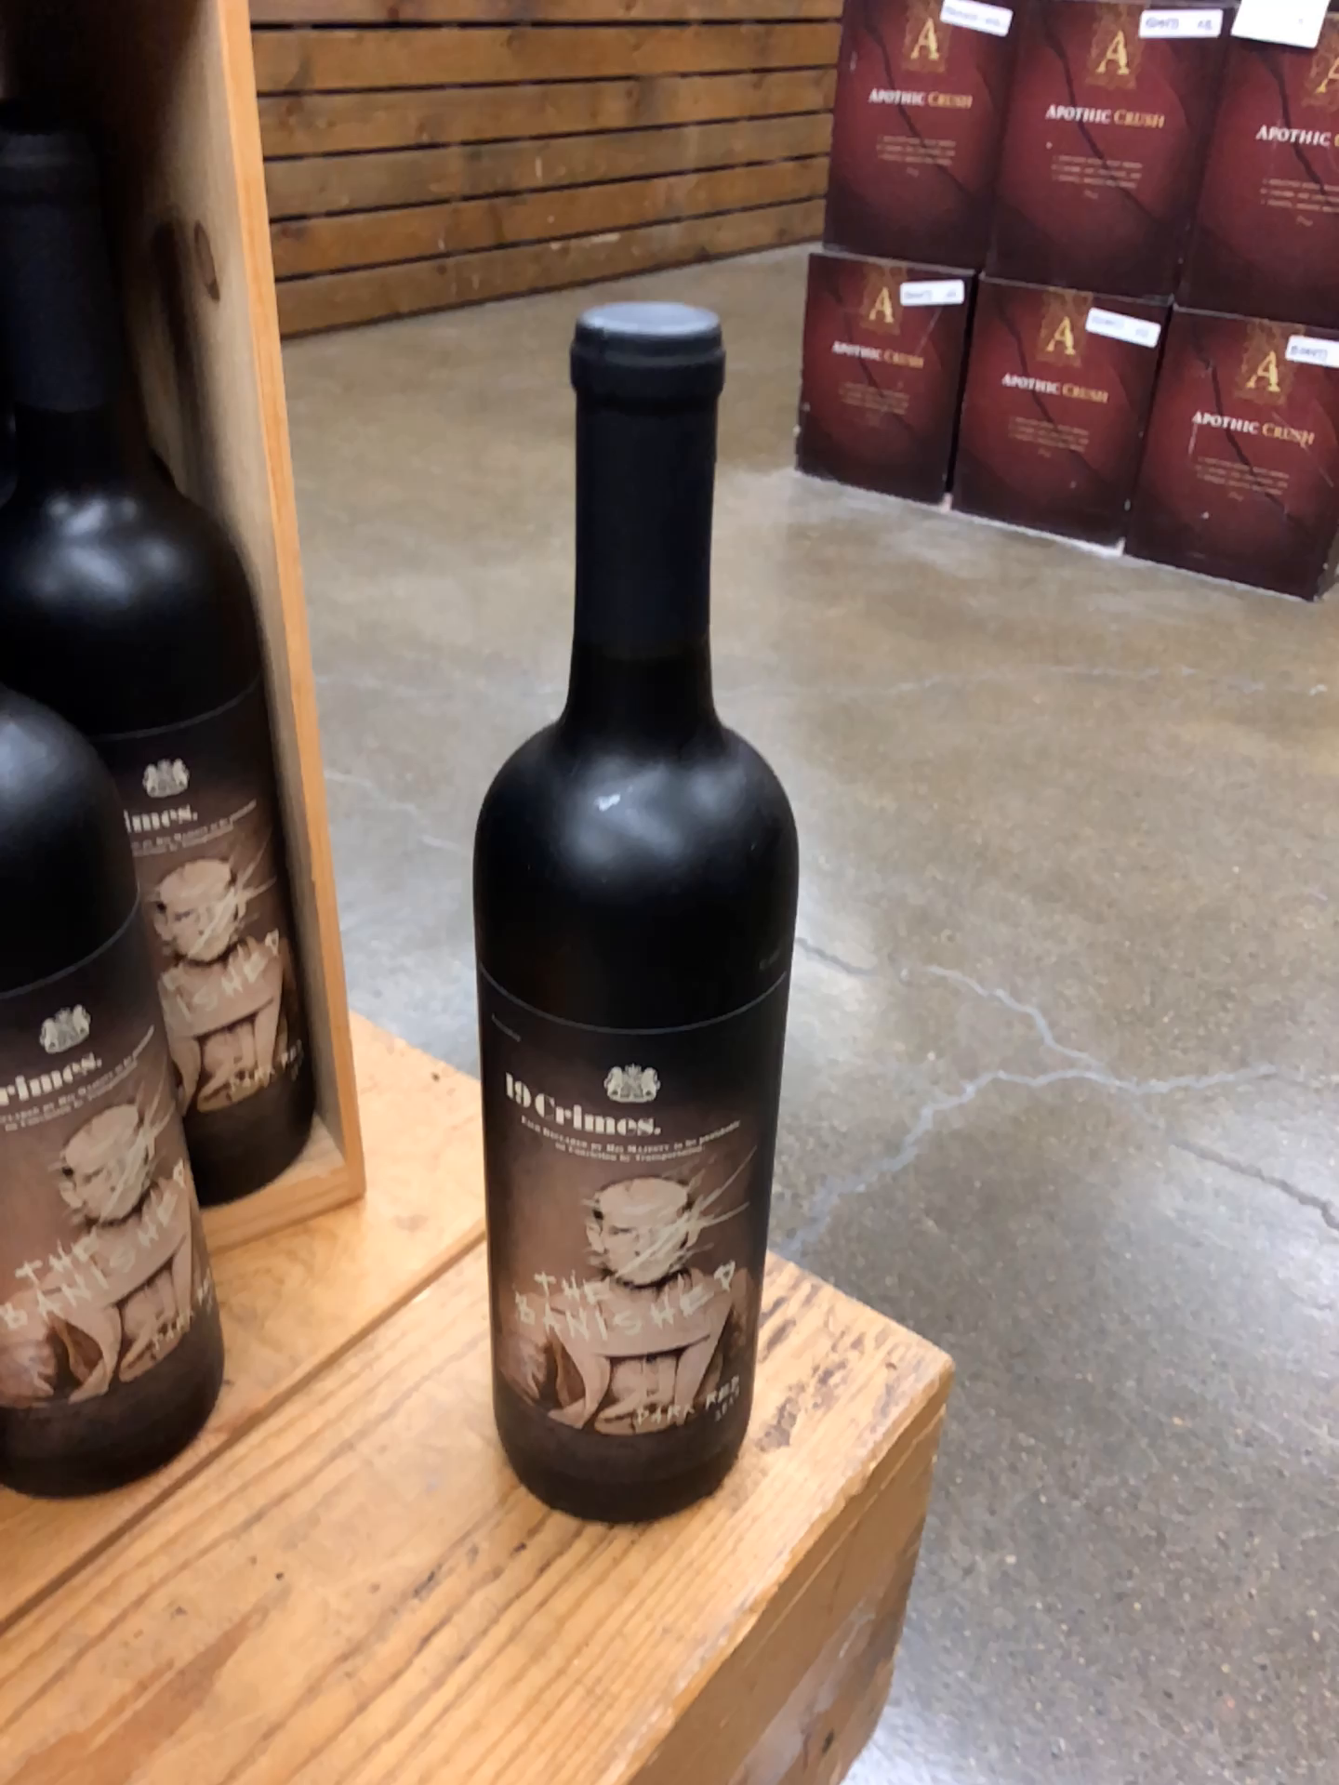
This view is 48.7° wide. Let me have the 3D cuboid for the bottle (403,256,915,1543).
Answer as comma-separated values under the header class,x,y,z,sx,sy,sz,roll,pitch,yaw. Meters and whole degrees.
class,x,y,z,sx,sy,sz,roll,pitch,yaw
bottle,-0.009,0.021,0.343,0.080,0.299,0.080,2,32,-1
